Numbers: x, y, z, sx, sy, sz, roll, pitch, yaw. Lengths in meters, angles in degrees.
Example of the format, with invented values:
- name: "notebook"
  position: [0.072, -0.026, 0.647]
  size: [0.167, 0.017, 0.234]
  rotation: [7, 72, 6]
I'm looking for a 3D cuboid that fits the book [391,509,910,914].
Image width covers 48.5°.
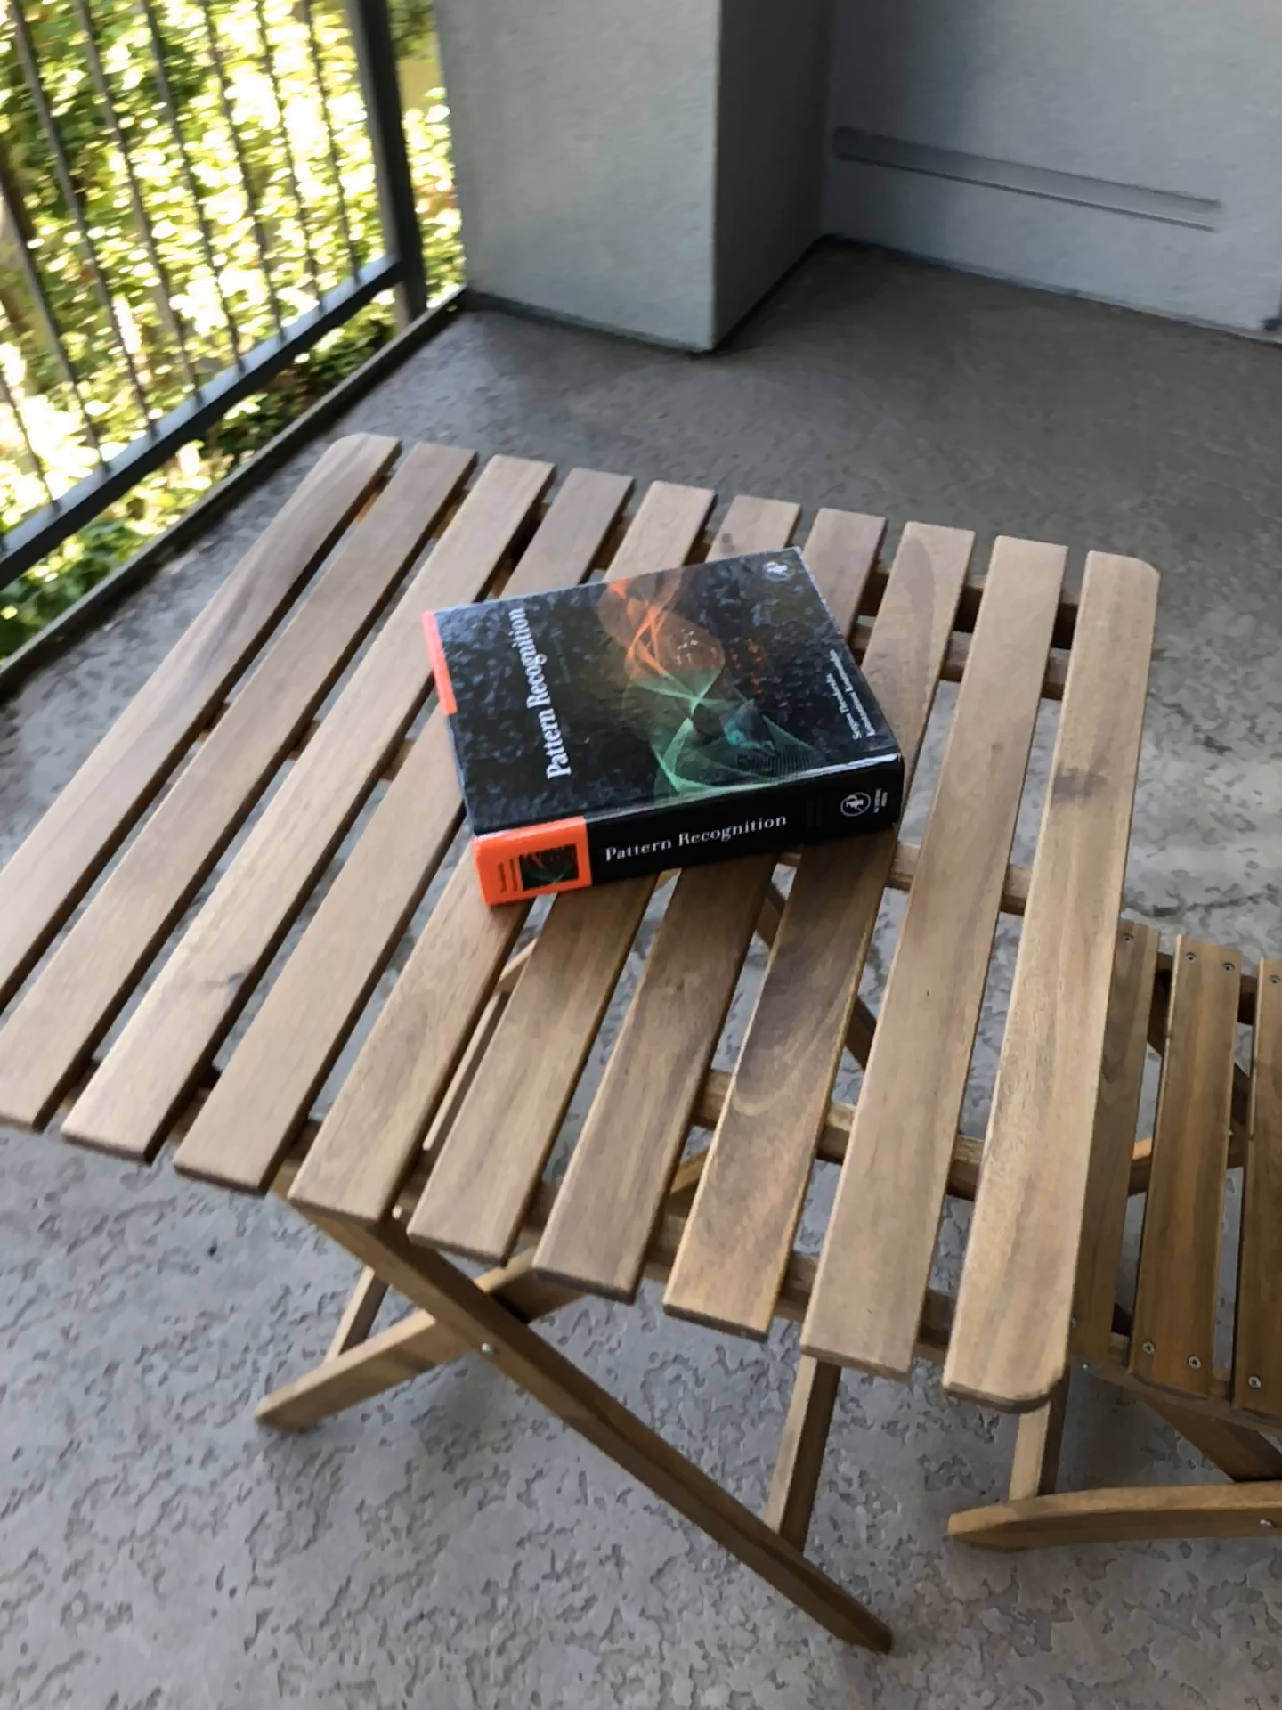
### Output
- name: "book"
  position: [-0.003, -0.091, 0.827]
  size: [0.250, 0.070, 0.211]
  rotation: [-11, 50, -8]
